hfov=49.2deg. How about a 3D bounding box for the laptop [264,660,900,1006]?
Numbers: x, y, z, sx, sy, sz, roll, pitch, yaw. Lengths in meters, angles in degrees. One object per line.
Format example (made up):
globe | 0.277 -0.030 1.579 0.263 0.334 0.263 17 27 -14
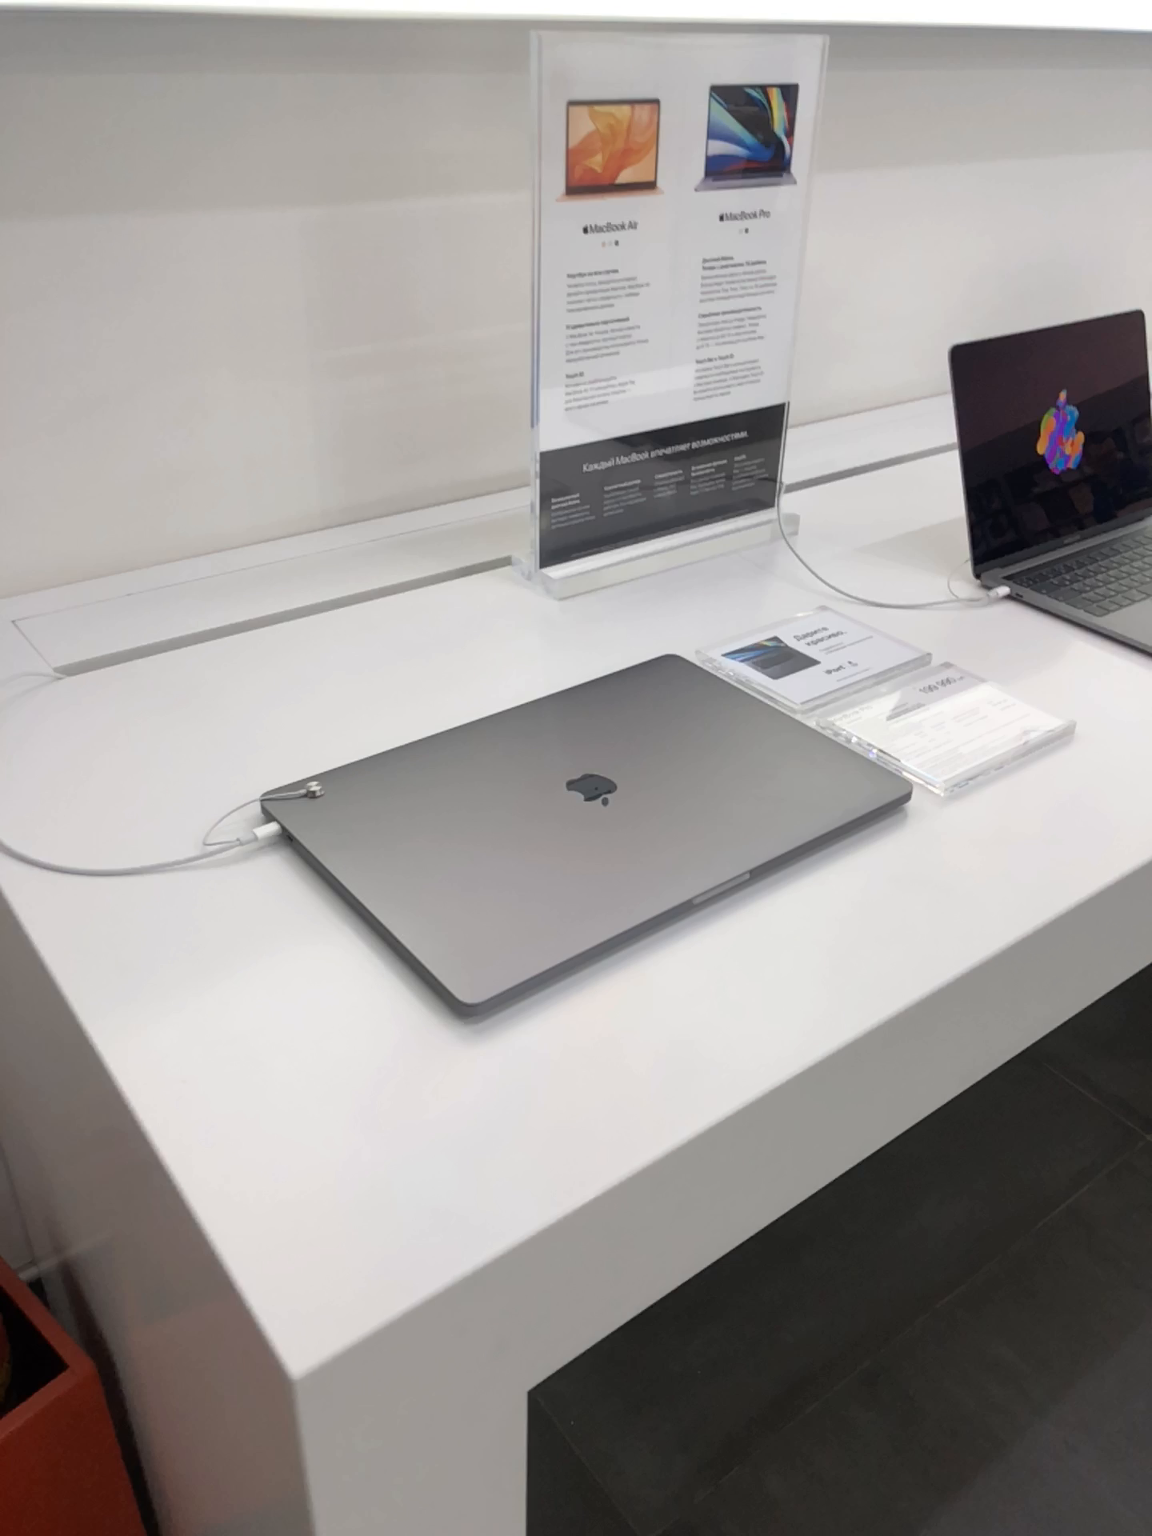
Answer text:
laptop | 0.008 0.019 0.818 0.345 0.003 0.232 -21 38 -33
